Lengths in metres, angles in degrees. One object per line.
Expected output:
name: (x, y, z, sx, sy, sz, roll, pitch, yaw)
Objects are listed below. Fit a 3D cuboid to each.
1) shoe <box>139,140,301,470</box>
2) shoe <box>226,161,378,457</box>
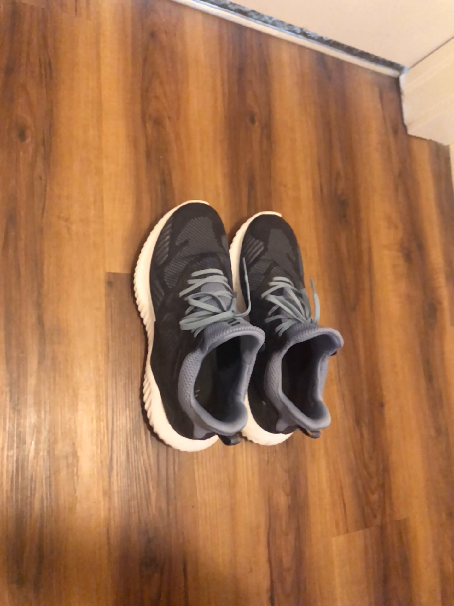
shoe: (-0.017, 0.007, 0.591, 0.133, 0.134, 0.333, 3, 79, -28)
shoe: (0.091, 0.016, 0.646, 0.132, 0.130, 0.334, 8, 77, -27)
